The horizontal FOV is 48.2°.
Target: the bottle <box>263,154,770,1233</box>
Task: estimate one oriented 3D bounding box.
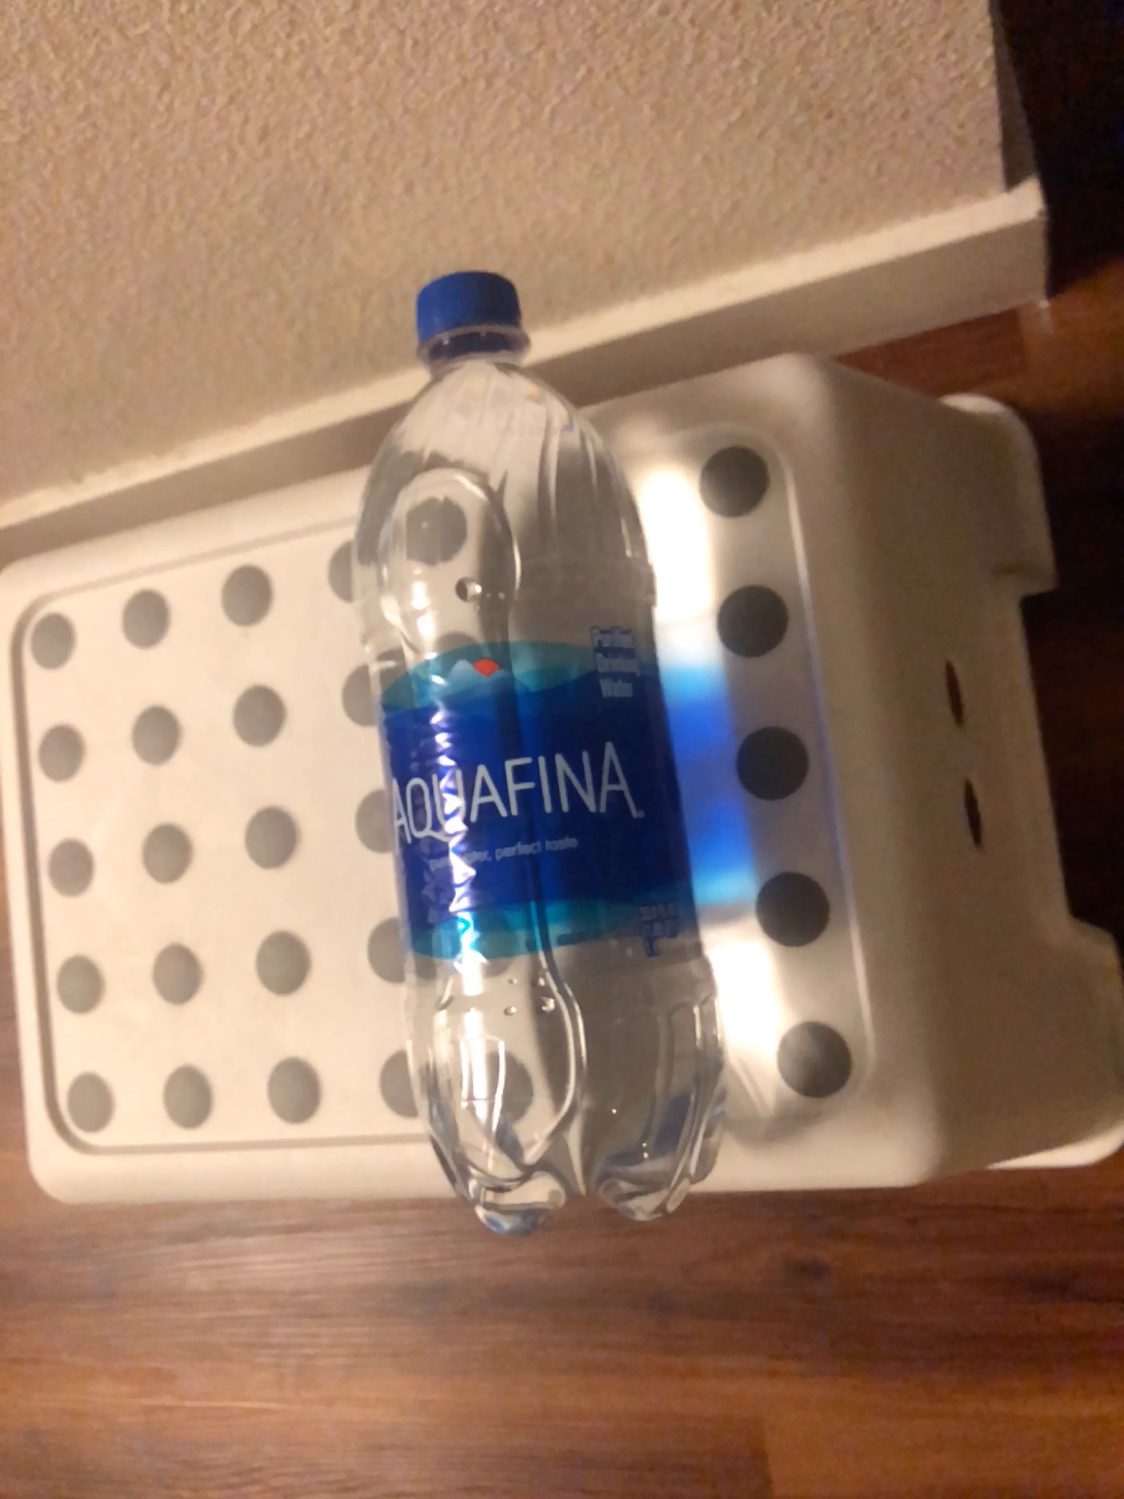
[{"bbox_3d":[-0.011,-0.010,0.339,0.090,0.080,0.250,-8,82,21],"label":"bottle"}]
